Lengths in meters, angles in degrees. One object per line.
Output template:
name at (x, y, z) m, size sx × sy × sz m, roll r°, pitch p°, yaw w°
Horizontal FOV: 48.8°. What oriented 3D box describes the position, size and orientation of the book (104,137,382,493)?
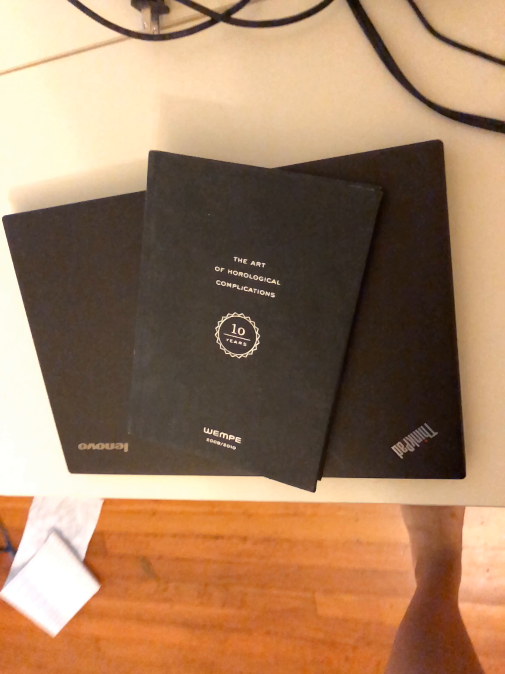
book at (-0.017, -0.015, 0.399) m, size 0.170 × 0.030 × 0.220 m, roll 14°, pitch 109°, yaw 15°
